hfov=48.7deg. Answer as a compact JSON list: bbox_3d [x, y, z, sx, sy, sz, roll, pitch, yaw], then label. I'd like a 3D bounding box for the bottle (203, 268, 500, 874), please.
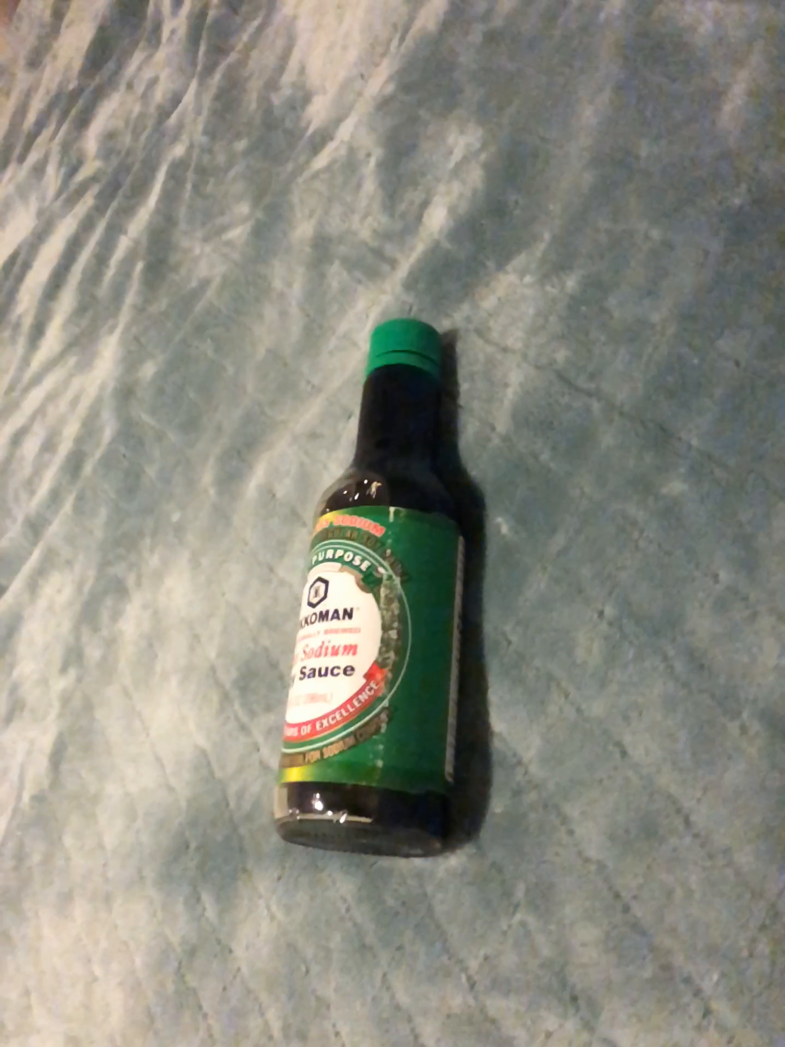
[{"bbox_3d":[-0.008,0.016,0.327,0.070,0.060,0.210,-21,53,42],"label":"bottle"}]
